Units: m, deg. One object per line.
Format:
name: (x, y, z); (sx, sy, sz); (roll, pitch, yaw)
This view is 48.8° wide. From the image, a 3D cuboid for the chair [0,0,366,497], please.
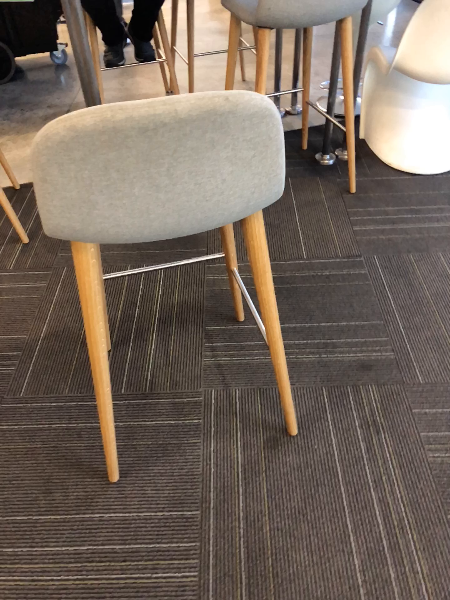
chair: (-0.142, -0.116, 1.137); (0.570, 0.945, 0.563); (-12, 42, -10)
